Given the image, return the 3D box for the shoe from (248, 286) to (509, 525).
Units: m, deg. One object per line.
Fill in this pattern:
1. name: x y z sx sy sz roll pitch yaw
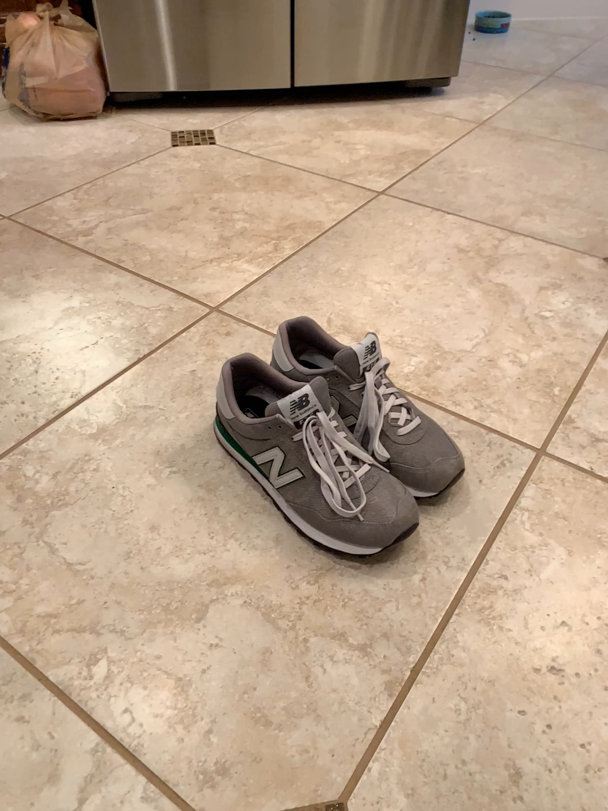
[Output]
1. shoe: 0.070 -0.014 0.715 0.115 0.103 0.285 -30 51 -29

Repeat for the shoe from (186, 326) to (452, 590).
1. shoe: 0.004 0.041 0.662 0.115 0.103 0.275 -30 51 -29
